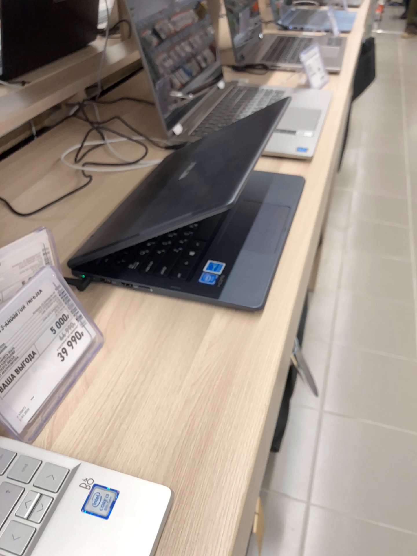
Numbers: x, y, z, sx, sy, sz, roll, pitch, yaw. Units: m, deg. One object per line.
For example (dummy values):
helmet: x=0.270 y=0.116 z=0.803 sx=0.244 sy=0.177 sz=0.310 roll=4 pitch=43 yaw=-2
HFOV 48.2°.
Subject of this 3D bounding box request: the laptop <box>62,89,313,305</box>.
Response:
laptop: x=0.000 y=-0.112 z=0.517 sx=0.185 sy=0.097 sz=0.273 roll=11 pitch=39 yaw=14
